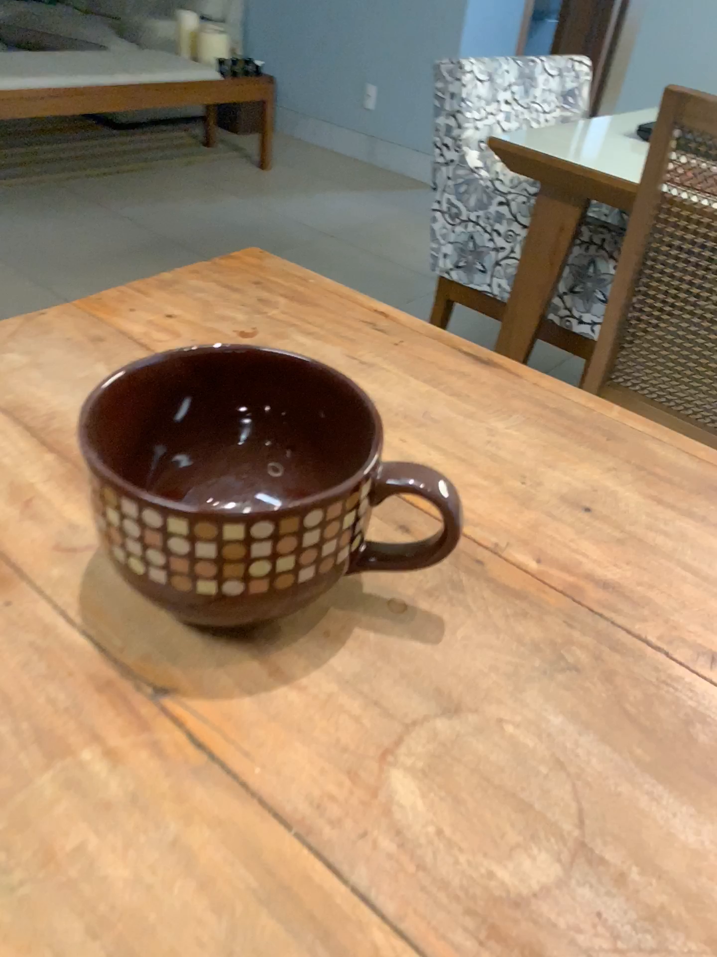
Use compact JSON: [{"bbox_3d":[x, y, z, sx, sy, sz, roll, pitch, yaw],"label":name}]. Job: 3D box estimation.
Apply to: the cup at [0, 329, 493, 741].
[{"bbox_3d":[-0.039,0.016,0.349,0.180,0.089,0.141,12,37,6],"label":"cup"}]
